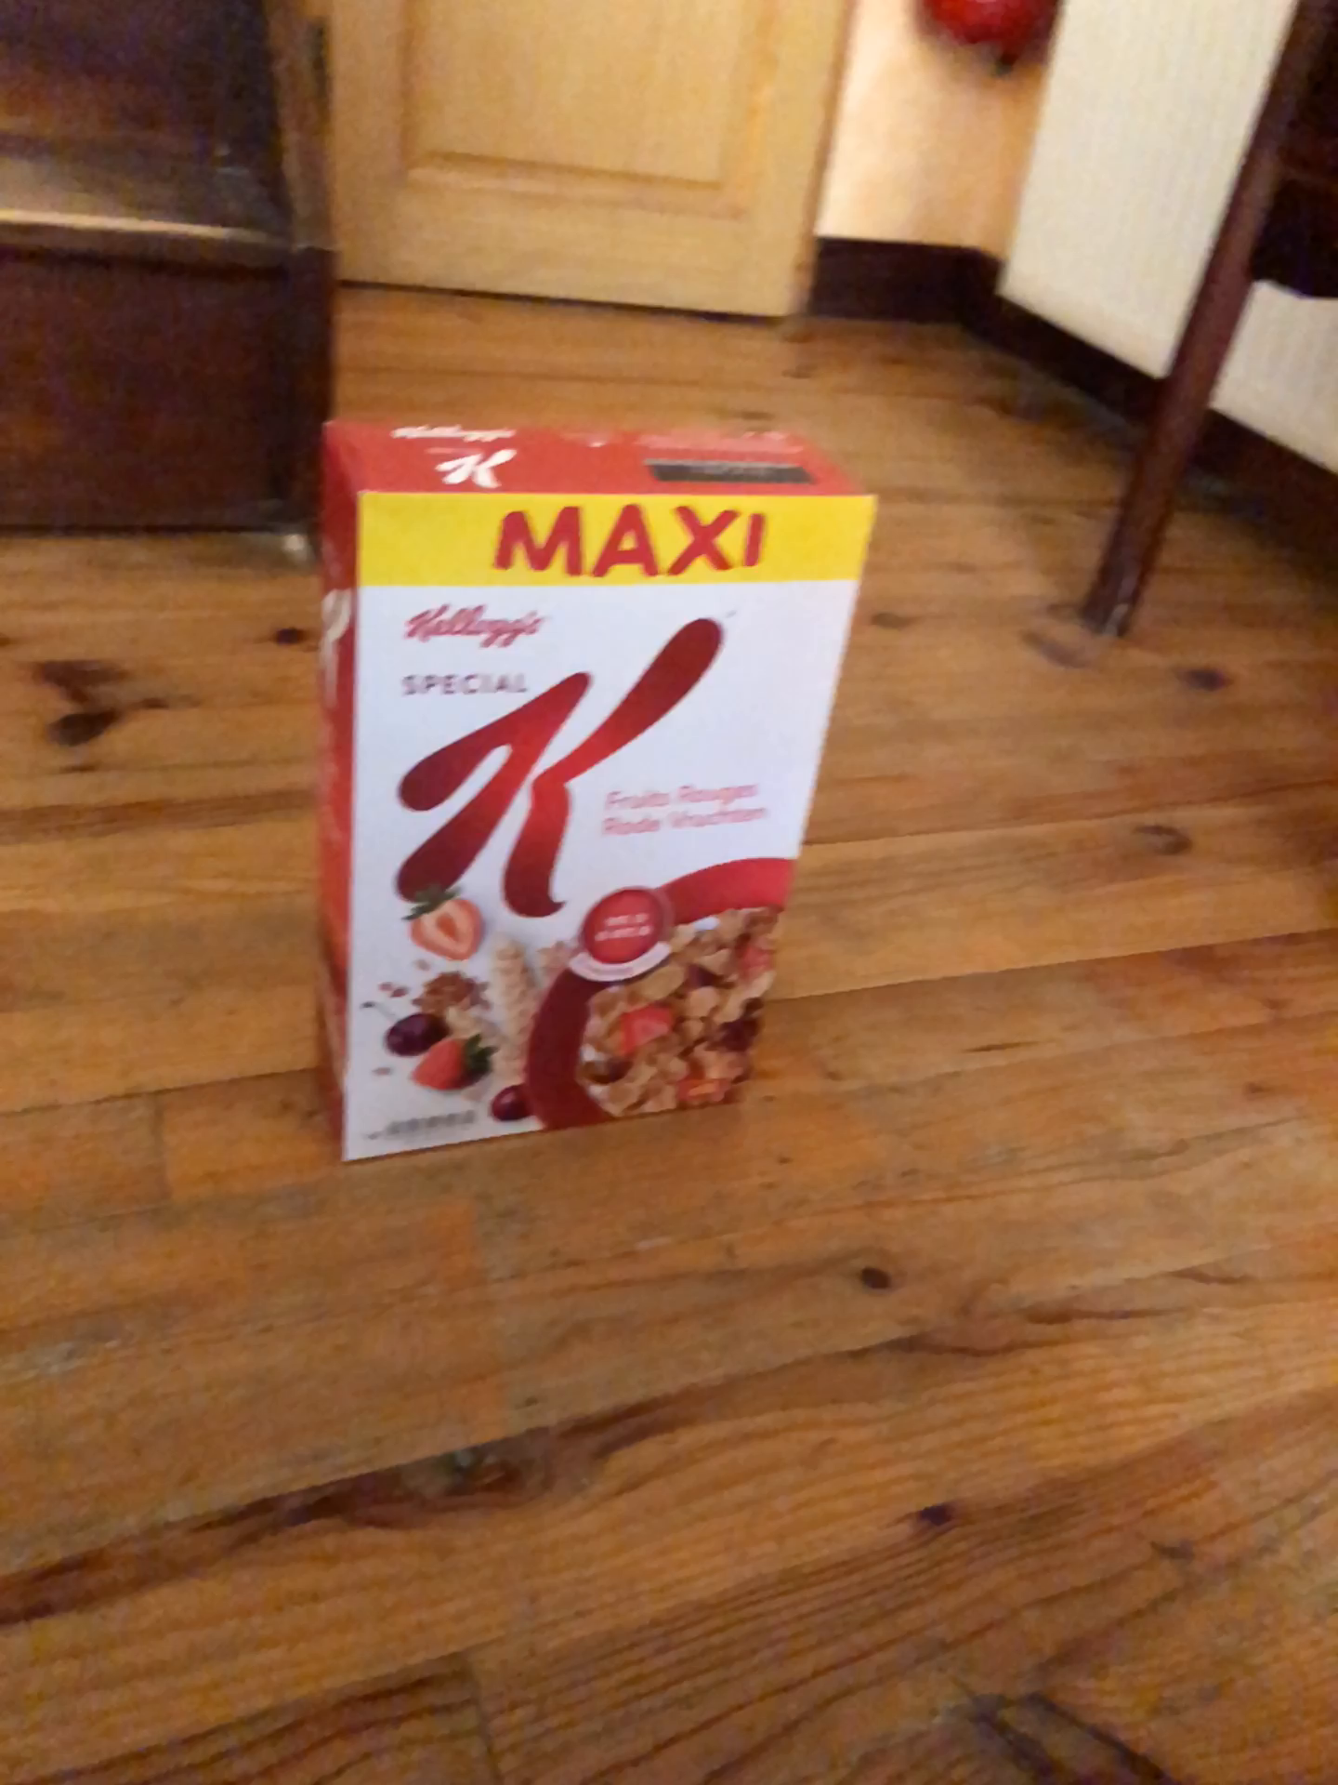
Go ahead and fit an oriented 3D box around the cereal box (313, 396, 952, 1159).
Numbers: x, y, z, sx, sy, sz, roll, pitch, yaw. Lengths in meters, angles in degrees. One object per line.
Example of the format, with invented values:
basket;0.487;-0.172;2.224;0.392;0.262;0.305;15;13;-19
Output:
cereal box;-0.031;-0.042;0.608;0.211;0.288;0.090;-5;36;-22
